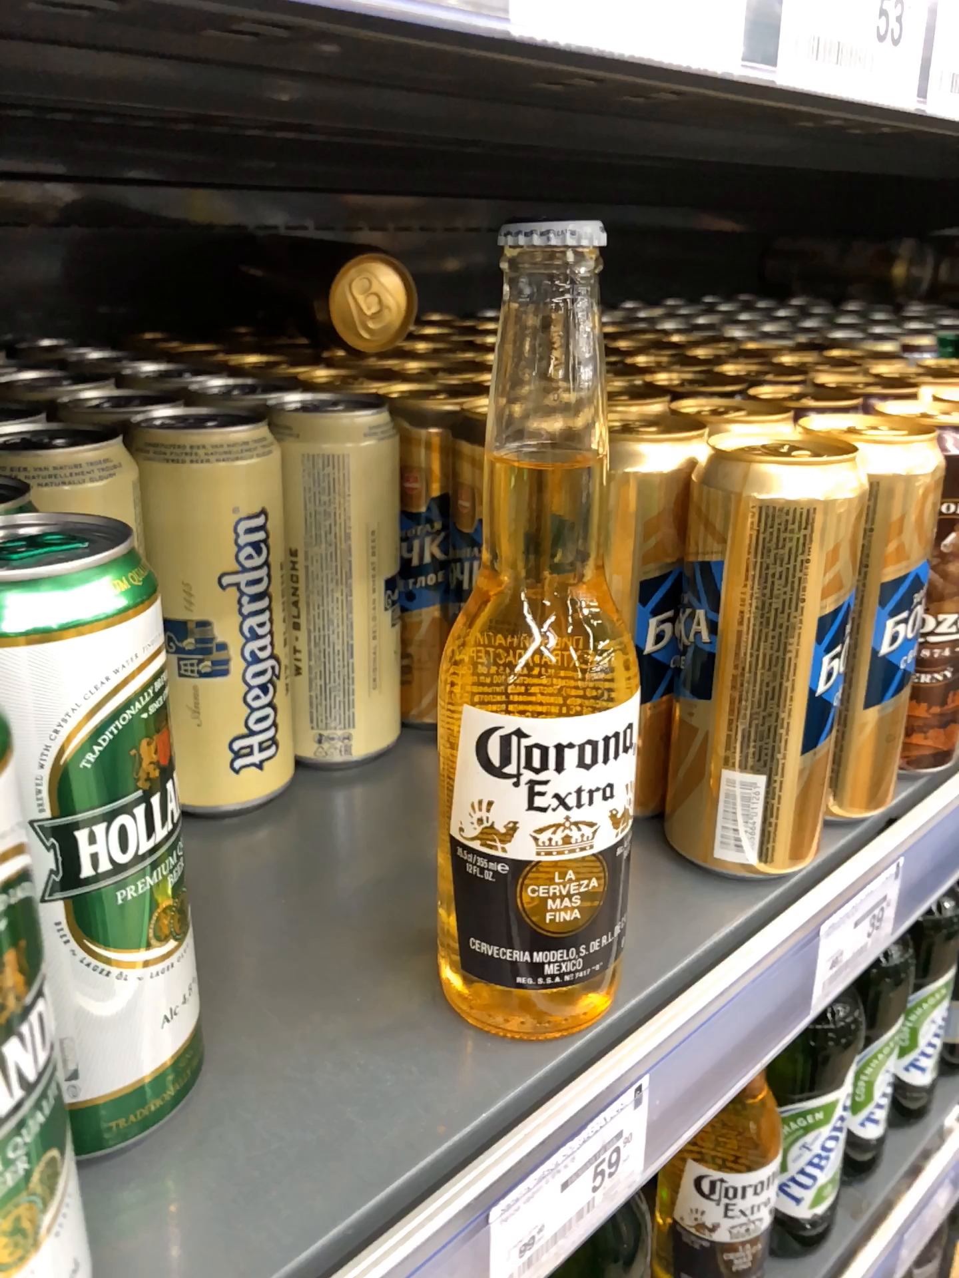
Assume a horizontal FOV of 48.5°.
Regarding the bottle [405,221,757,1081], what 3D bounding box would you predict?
[{"bbox_3d":[0.021,0.006,0.311,0.070,0.237,0.060,-6,22,-19],"label":"bottle"}]
